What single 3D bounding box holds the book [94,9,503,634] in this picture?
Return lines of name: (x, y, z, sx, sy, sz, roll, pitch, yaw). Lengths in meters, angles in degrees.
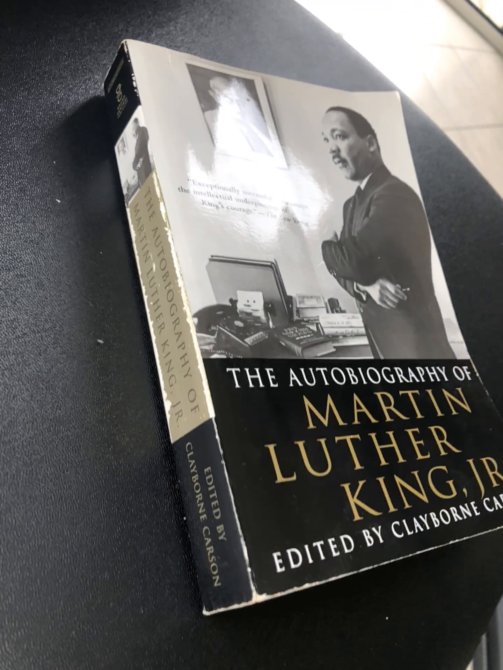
book: (0.030, -0.018, 0.246, 0.161, 0.050, 0.230, -1, 66, -28)
